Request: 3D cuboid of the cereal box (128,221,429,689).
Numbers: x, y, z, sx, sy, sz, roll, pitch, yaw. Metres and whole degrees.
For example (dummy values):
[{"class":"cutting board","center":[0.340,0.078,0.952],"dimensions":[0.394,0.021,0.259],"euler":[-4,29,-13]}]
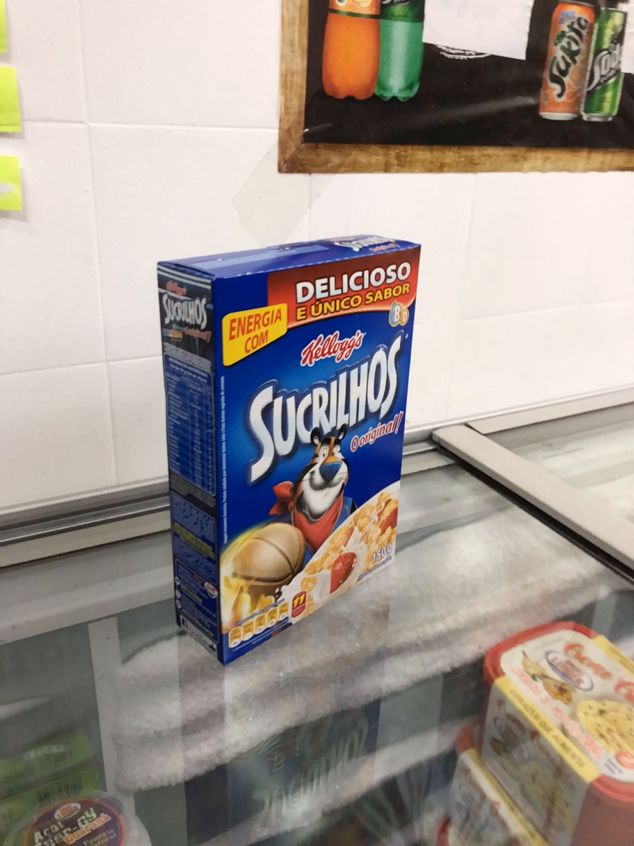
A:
[{"class":"cereal box","center":[-0.015,0.008,0.357],"dimensions":[0.050,0.199,0.141],"euler":[23,30,38]}]
